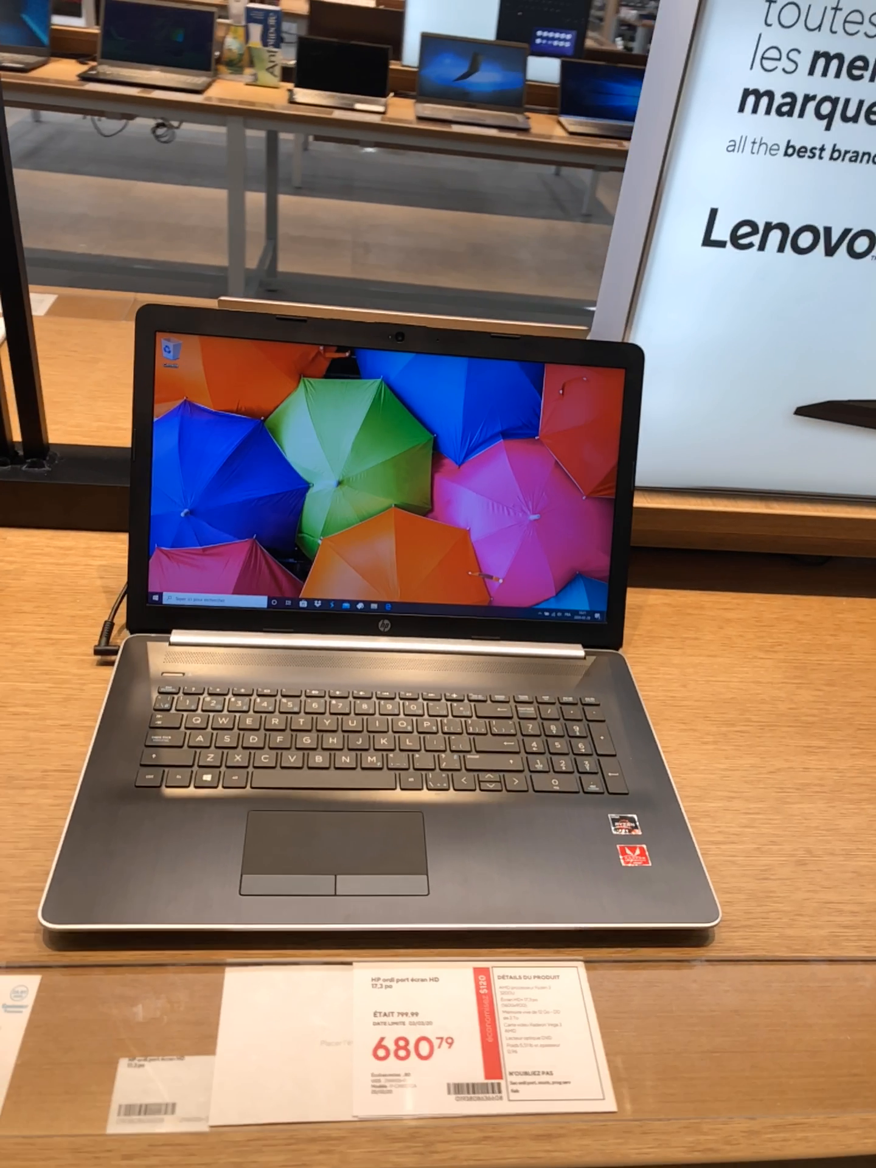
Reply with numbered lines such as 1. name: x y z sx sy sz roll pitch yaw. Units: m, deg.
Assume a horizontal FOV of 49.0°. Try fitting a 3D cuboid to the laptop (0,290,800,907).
1. laptop: -0.034 -0.012 0.692 0.399 0.217 0.399 3 37 -8
